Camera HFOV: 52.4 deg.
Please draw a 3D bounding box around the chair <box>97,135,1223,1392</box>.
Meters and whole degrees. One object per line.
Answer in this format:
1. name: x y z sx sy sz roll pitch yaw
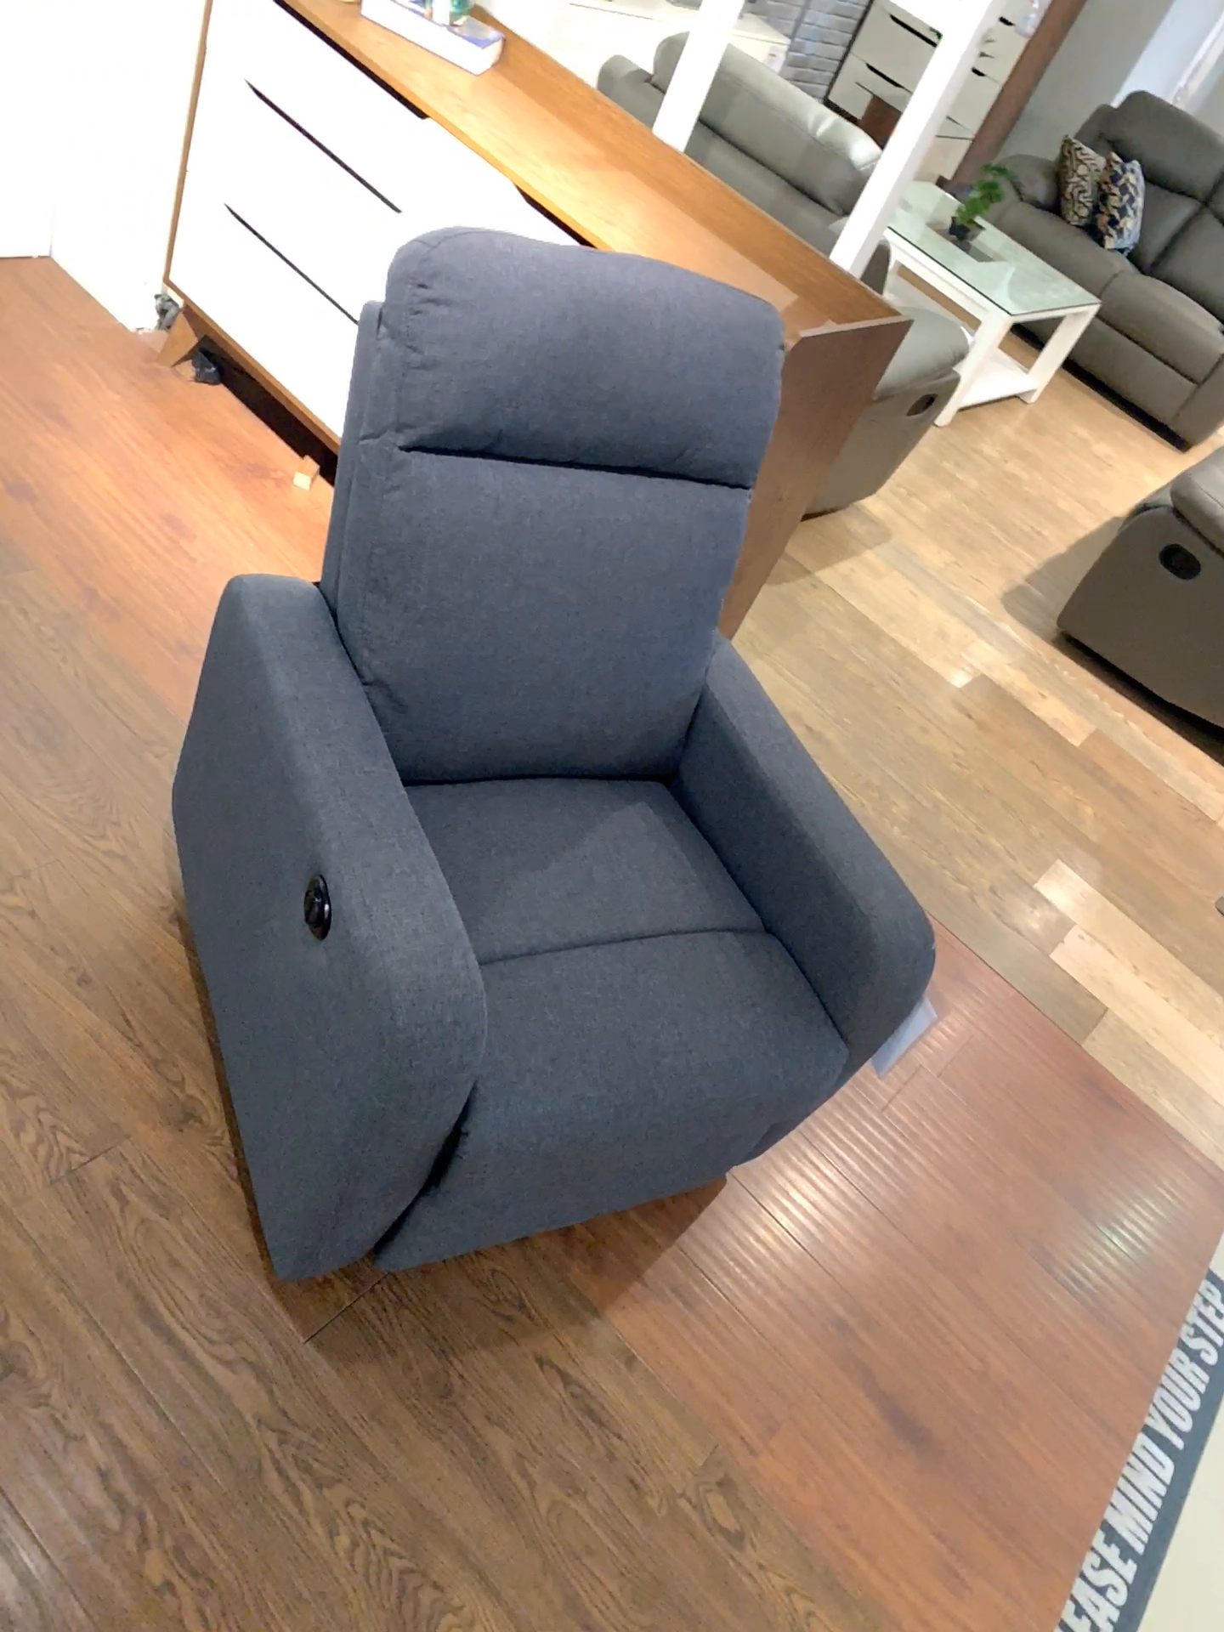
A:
1. chair: -0.012 -0.047 1.551 0.932 0.966 0.882 -4 50 -34
